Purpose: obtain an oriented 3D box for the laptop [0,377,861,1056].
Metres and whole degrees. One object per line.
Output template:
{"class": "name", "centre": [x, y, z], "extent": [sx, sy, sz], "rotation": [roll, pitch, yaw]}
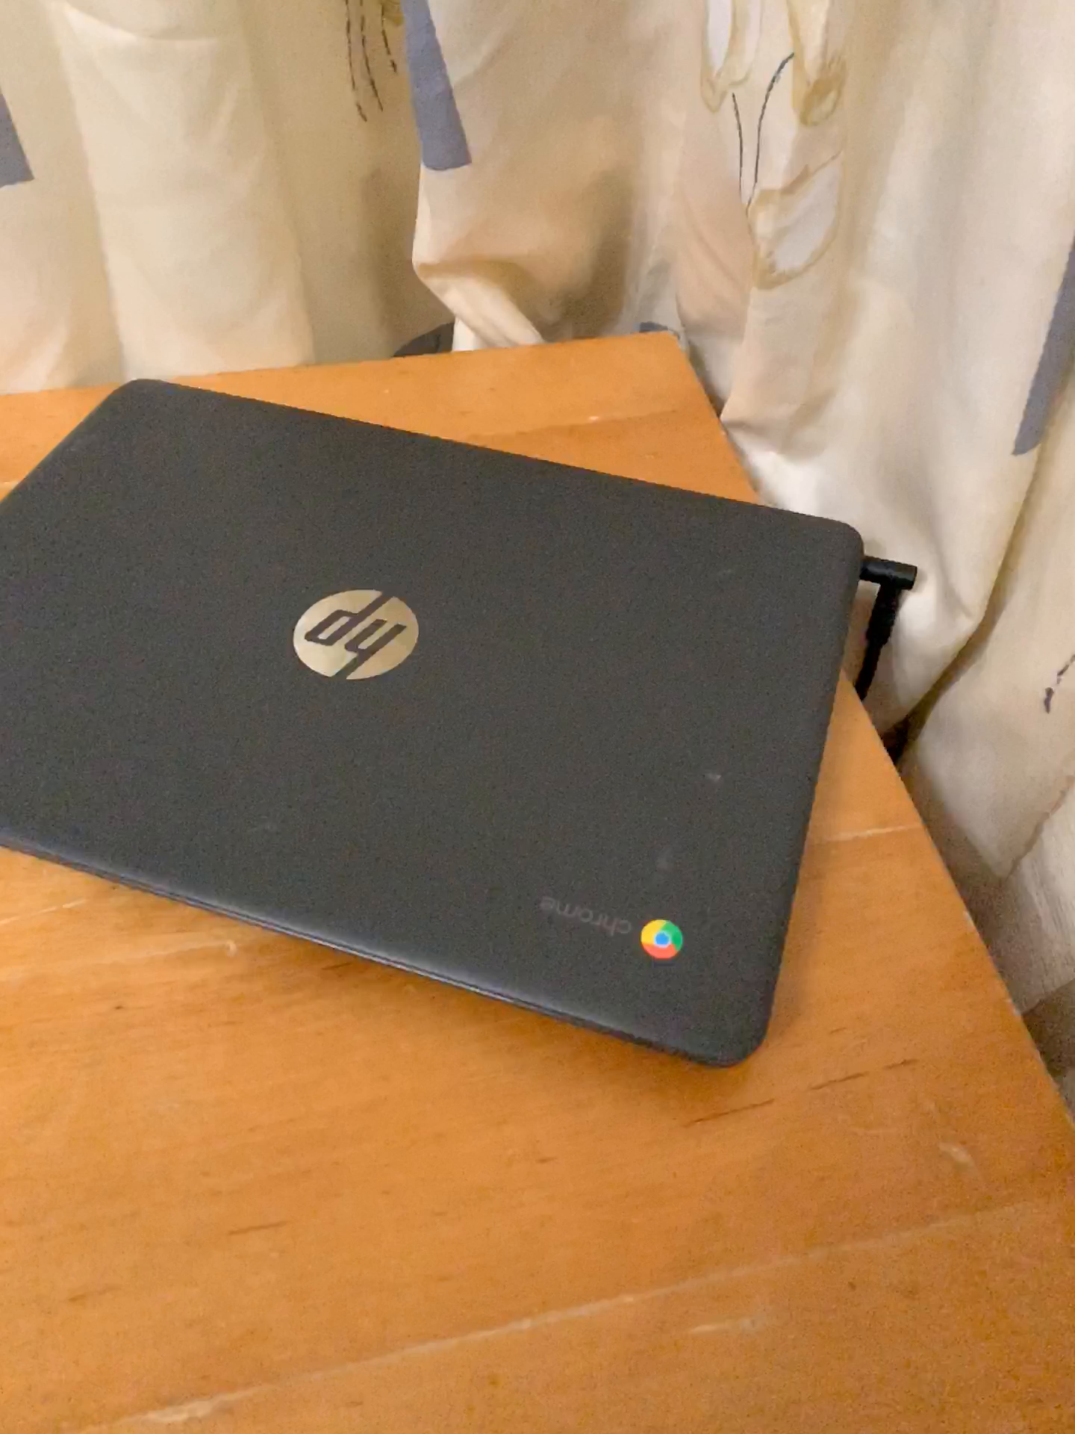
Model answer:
{"class": "laptop", "centre": [-0.051, -0.026, 0.318], "extent": [0.261, 0.004, 0.186], "rotation": [14, 50, 12]}
